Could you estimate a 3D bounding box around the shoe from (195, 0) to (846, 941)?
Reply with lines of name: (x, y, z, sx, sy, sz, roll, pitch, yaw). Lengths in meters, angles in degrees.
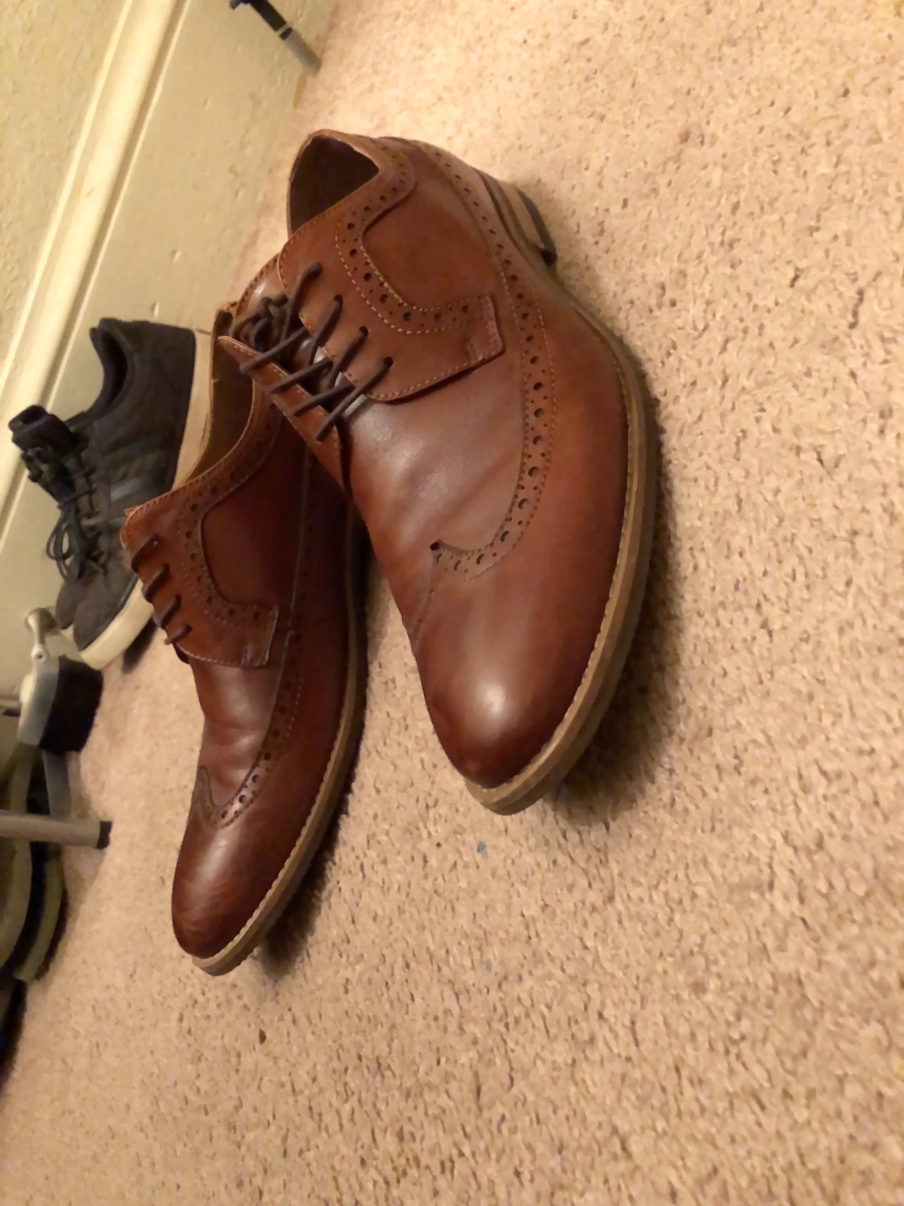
shoe: (0.001, -0.066, 0.339, 0.115, 0.115, 0.311, -45, 38, 40)

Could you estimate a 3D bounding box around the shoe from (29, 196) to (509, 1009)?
shoe: (-0.080, 0.002, 0.454, 0.115, 0.115, 0.310, -10, 65, 59)
